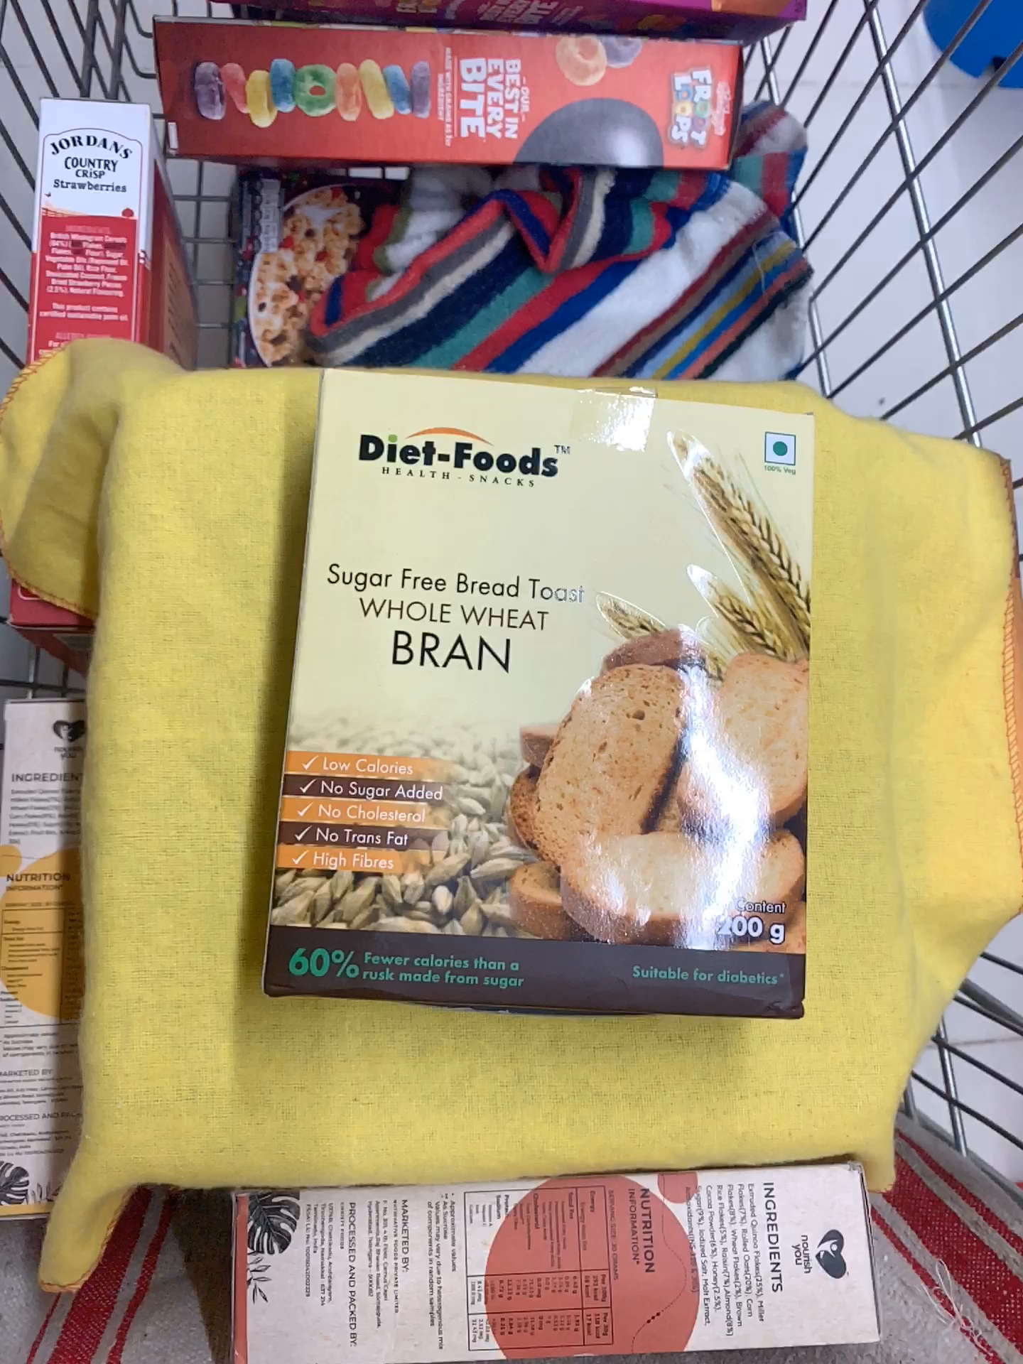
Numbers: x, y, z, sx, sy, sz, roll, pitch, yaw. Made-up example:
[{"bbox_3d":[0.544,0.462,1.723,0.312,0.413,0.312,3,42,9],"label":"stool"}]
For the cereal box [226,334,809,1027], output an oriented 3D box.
[{"bbox_3d":[0.005,0.001,0.294,0.140,0.050,0.170,4,80,-4],"label":"cereal box"}]
